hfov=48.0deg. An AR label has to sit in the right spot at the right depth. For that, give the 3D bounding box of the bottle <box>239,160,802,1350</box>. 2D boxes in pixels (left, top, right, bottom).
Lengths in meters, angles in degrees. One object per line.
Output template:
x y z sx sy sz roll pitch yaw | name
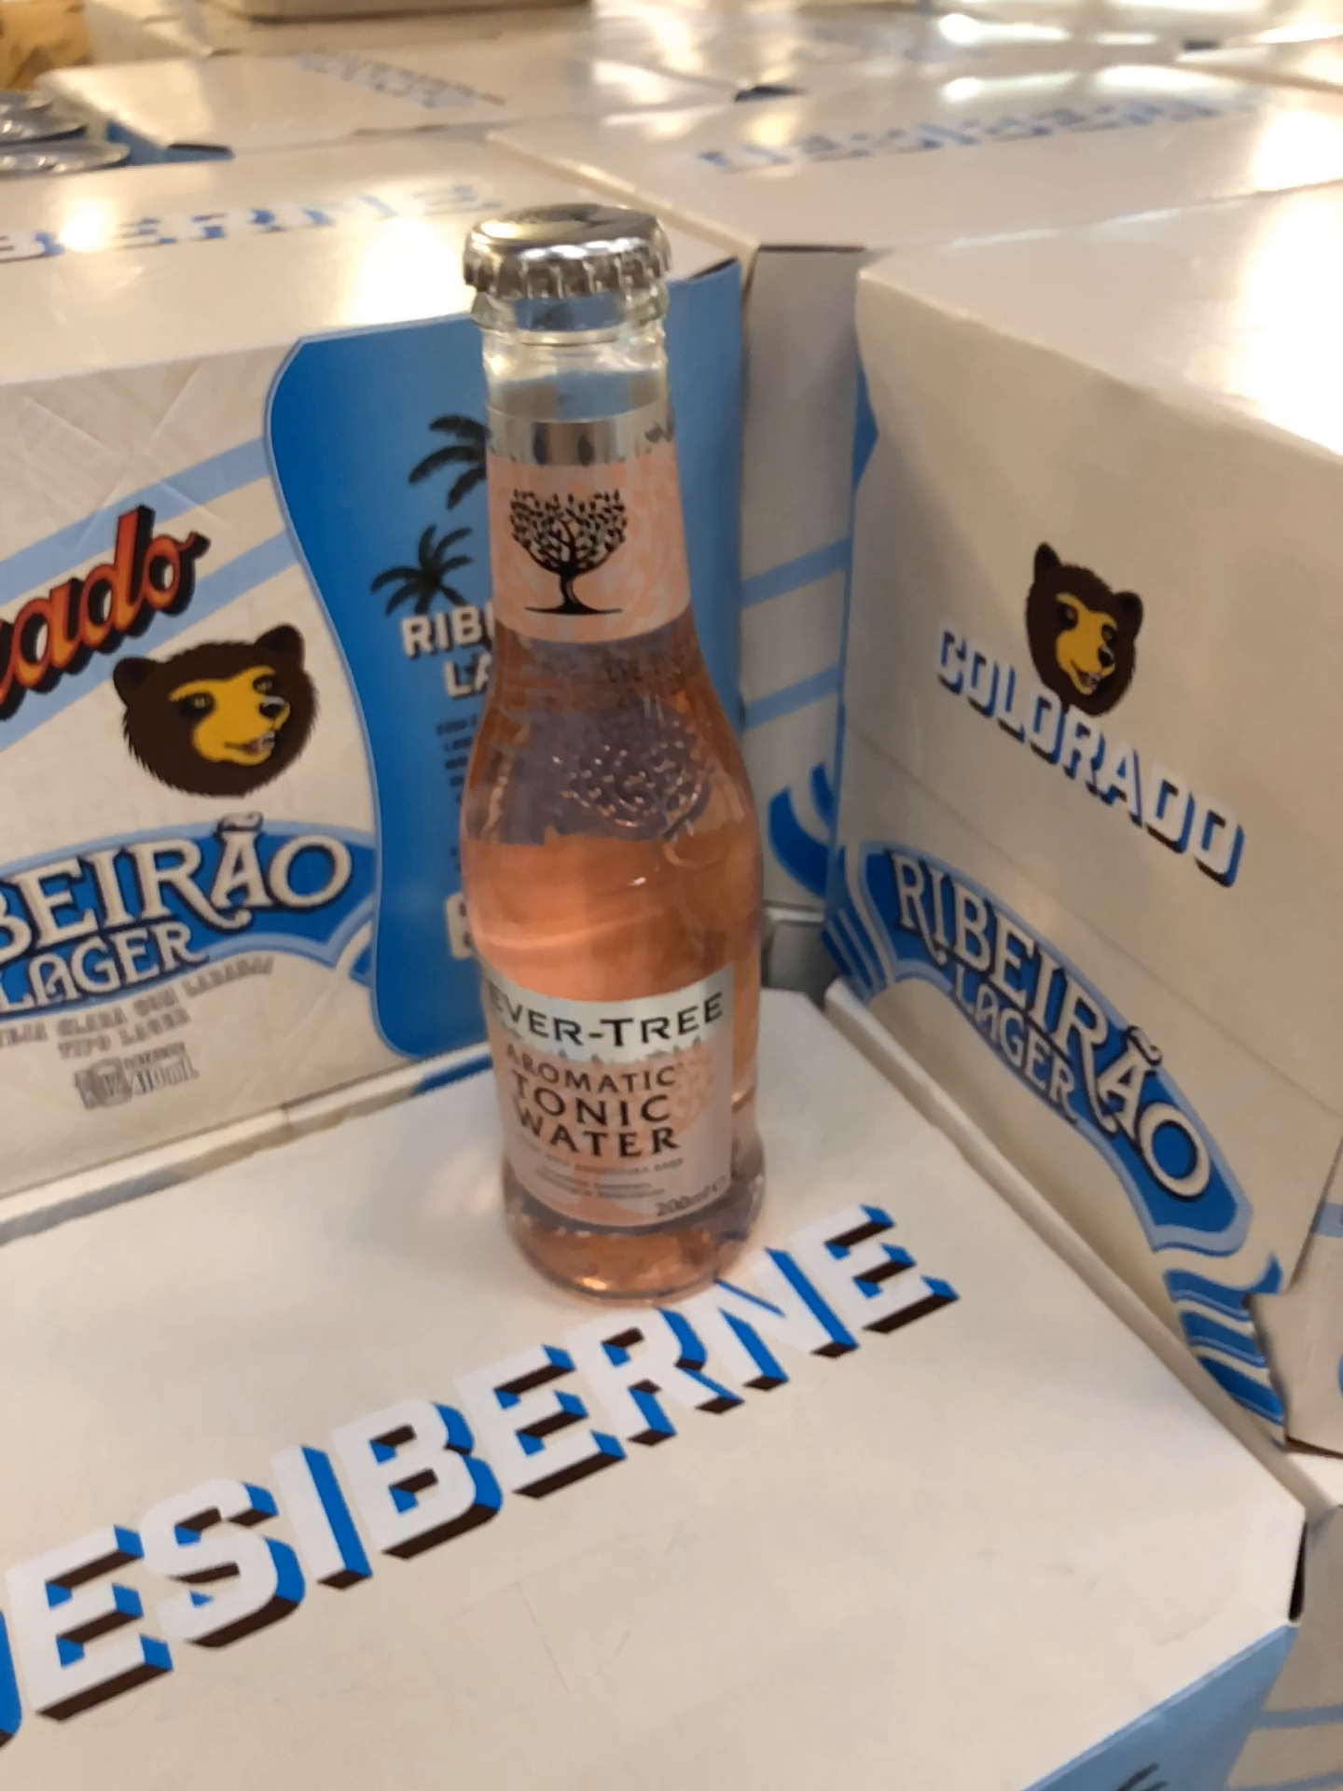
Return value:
-0.016 -0.013 0.249 0.060 0.189 0.050 8 35 12 | bottle
